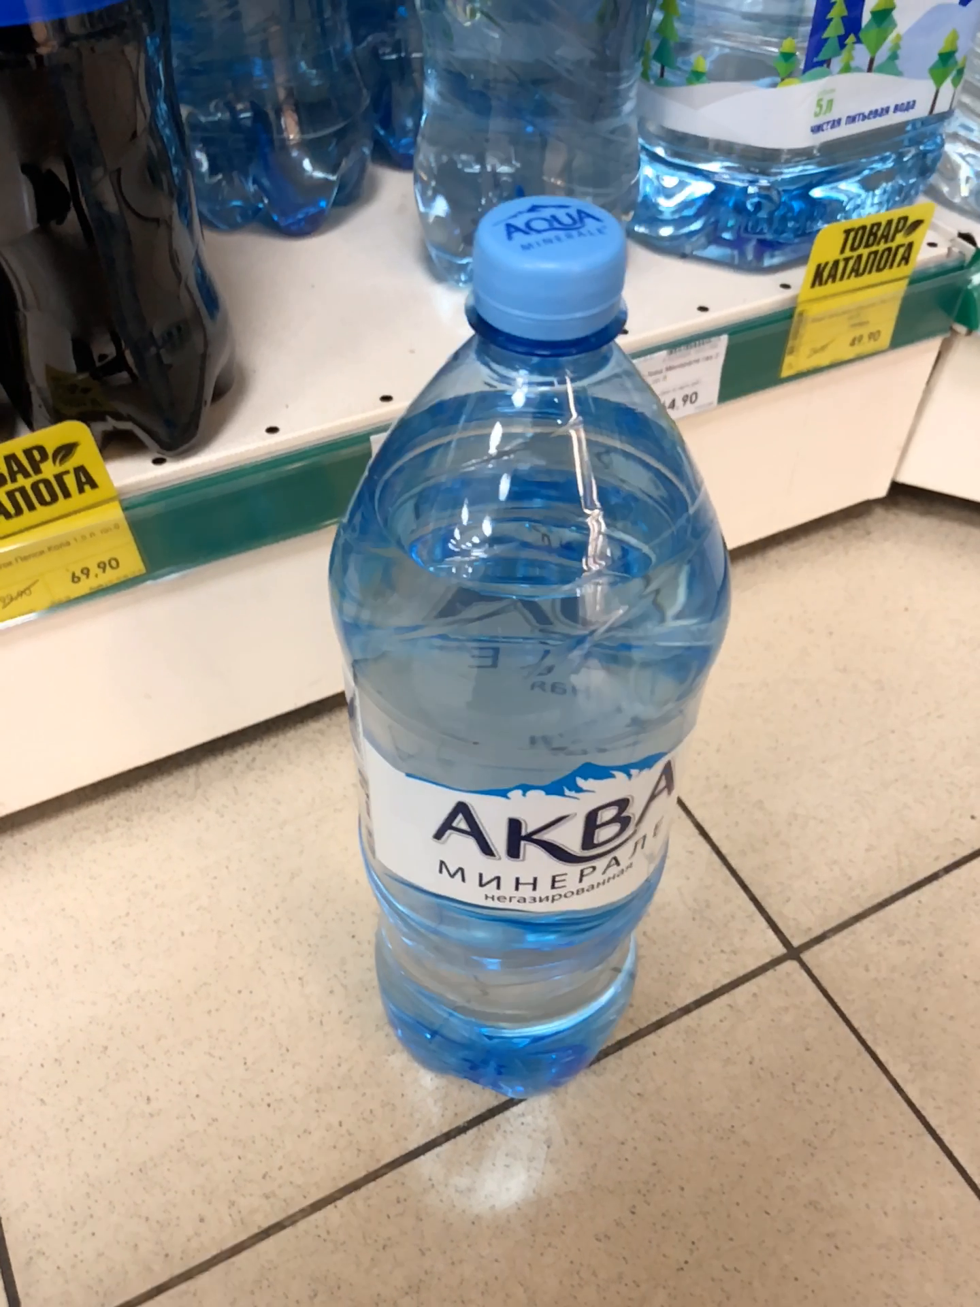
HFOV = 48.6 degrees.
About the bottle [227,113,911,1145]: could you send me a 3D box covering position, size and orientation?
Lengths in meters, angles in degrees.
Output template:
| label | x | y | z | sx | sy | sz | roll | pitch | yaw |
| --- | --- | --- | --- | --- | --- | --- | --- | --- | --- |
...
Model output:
| label | x | y | z | sx | sy | sz | roll | pitch | yaw |
| --- | --- | --- | --- | --- | --- | --- | --- | --- | --- |
| bottle | 0.008 | 0.030 | 0.325 | 0.105 | 0.323 | 0.088 | -13 | 49 | -13 |
